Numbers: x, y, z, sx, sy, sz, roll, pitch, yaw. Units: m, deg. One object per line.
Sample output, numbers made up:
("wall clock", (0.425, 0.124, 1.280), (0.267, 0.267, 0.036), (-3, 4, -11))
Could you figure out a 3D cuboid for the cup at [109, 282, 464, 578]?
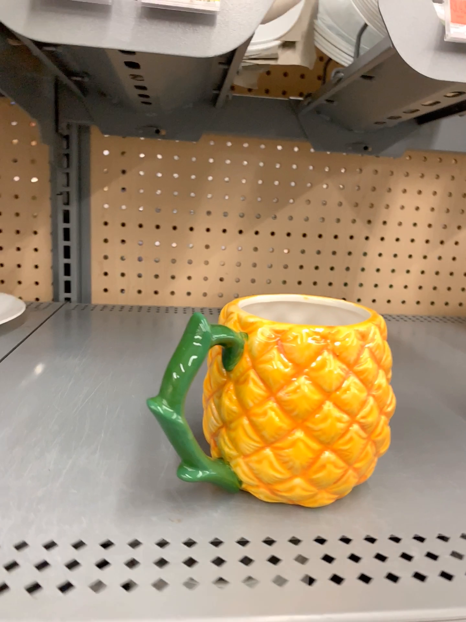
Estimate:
("cup", (0.025, 0.044, 0.268), (0.160, 0.100, 0.100), (-4, 15, -30))
